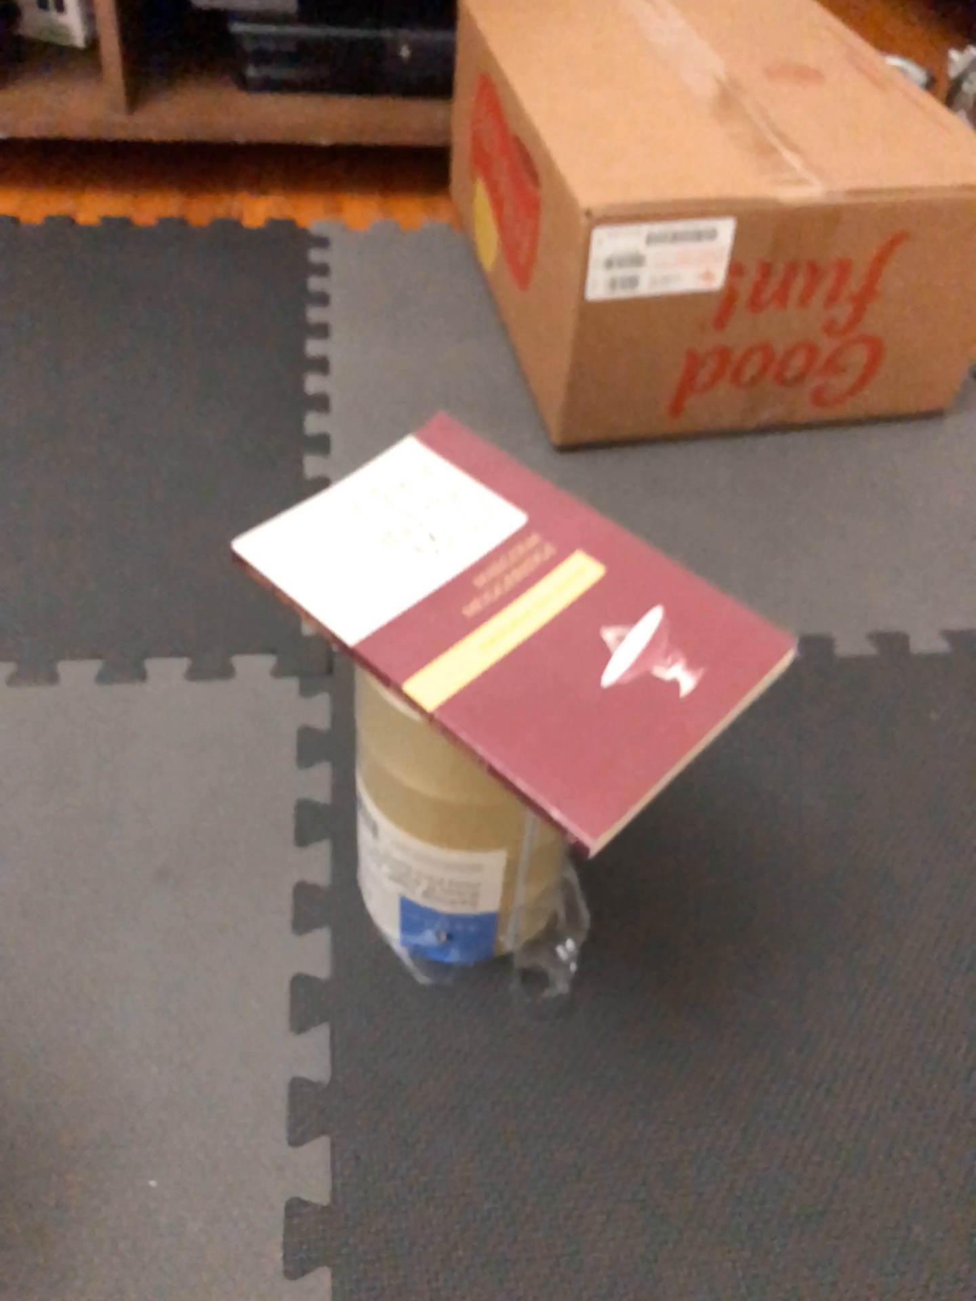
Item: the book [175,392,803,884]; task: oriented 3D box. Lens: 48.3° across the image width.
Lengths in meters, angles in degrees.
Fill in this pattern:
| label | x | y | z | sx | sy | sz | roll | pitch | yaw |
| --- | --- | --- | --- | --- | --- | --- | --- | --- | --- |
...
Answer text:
| label | x | y | z | sx | sy | sz | roll | pitch | yaw |
| --- | --- | --- | --- | --- | --- | --- | --- | --- | --- |
| book | -0.002 | -0.021 | 0.439 | 0.210 | 0.020 | 0.141 | 36 | 55 | 24 |
